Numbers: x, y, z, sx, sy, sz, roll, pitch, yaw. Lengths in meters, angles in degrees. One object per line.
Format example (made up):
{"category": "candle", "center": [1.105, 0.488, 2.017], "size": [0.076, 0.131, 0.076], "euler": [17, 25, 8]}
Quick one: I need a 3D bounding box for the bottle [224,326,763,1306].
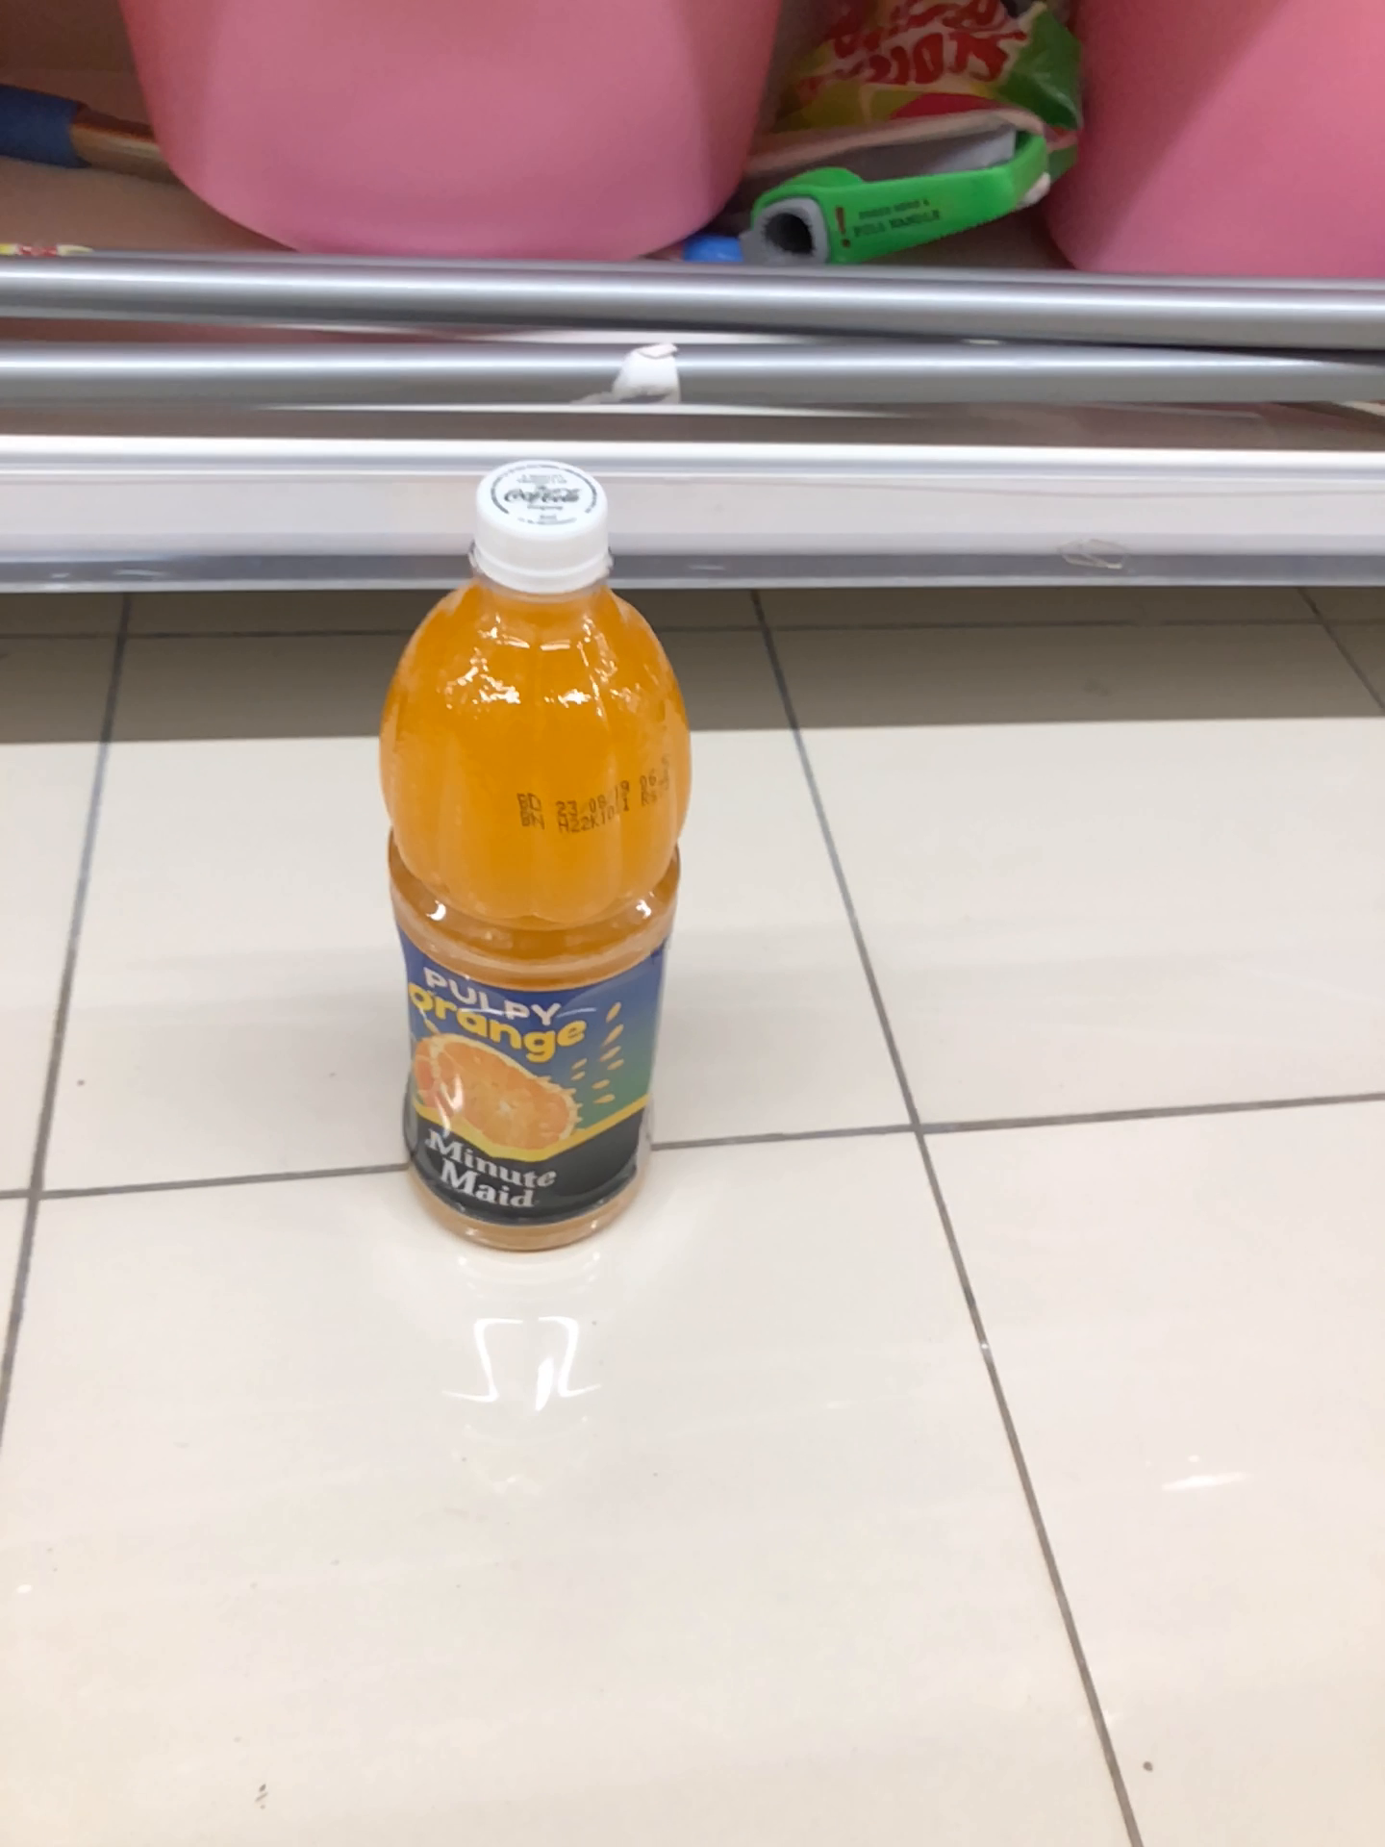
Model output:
{"category": "bottle", "center": [-0.053, -0.011, 0.432], "size": [0.090, 0.268, 0.080], "euler": [20, 47, 12]}
